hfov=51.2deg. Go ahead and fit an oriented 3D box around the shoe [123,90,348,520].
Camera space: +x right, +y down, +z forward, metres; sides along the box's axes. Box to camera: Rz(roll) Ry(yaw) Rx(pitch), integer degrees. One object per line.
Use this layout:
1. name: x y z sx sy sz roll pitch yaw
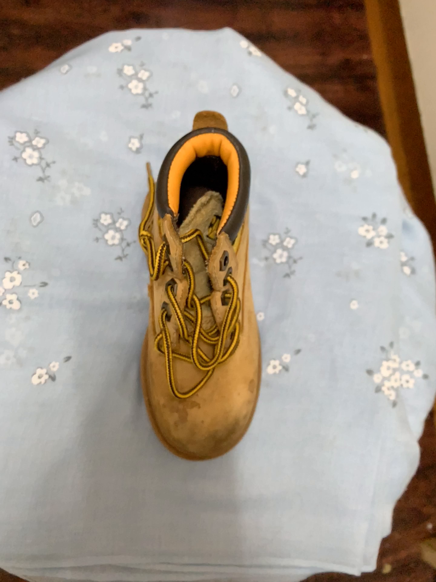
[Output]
1. shoe: -0.004 0.007 0.269 0.095 0.120 0.190 -2 83 -12
